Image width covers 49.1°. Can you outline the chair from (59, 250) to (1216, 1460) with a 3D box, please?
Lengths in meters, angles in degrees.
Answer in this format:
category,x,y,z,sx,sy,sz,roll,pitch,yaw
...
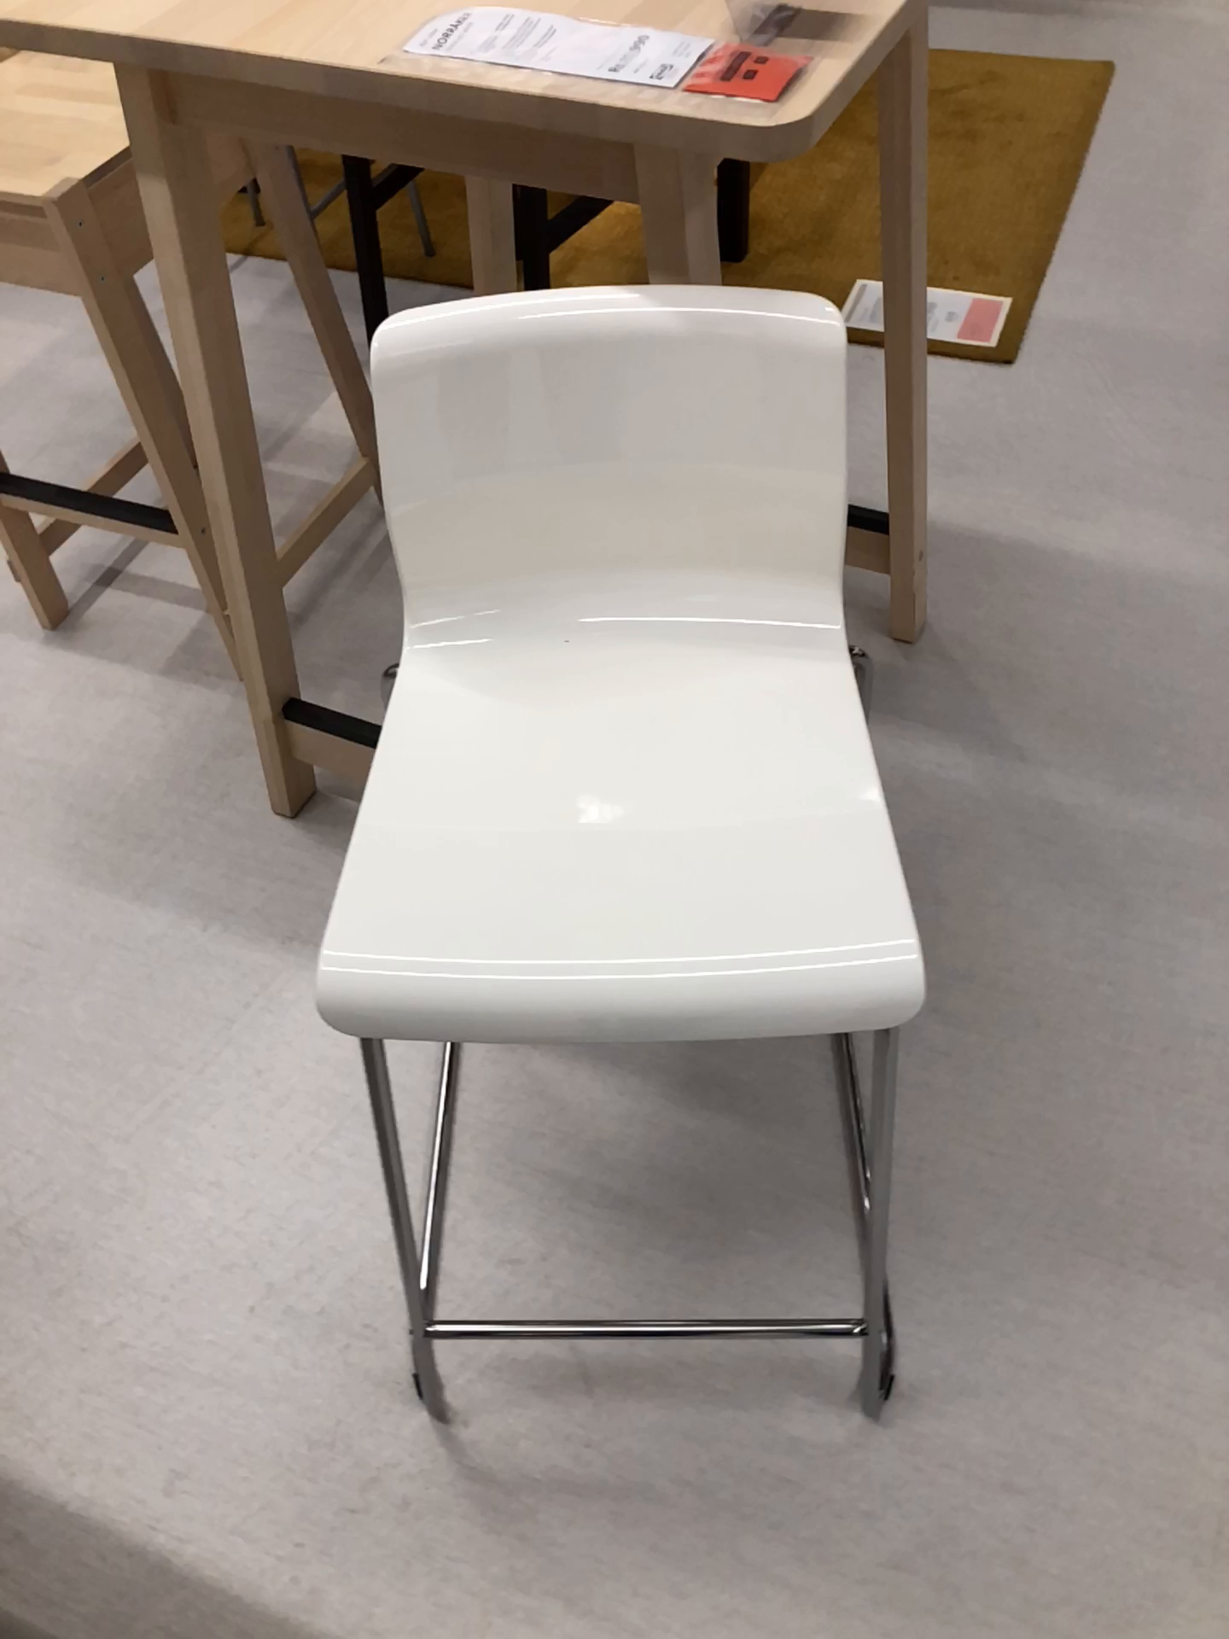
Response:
category,x,y,z,sx,sy,sz,roll,pitch,yaw
chair,0.026,0.094,1.076,0.500,0.825,0.553,-3,50,2
